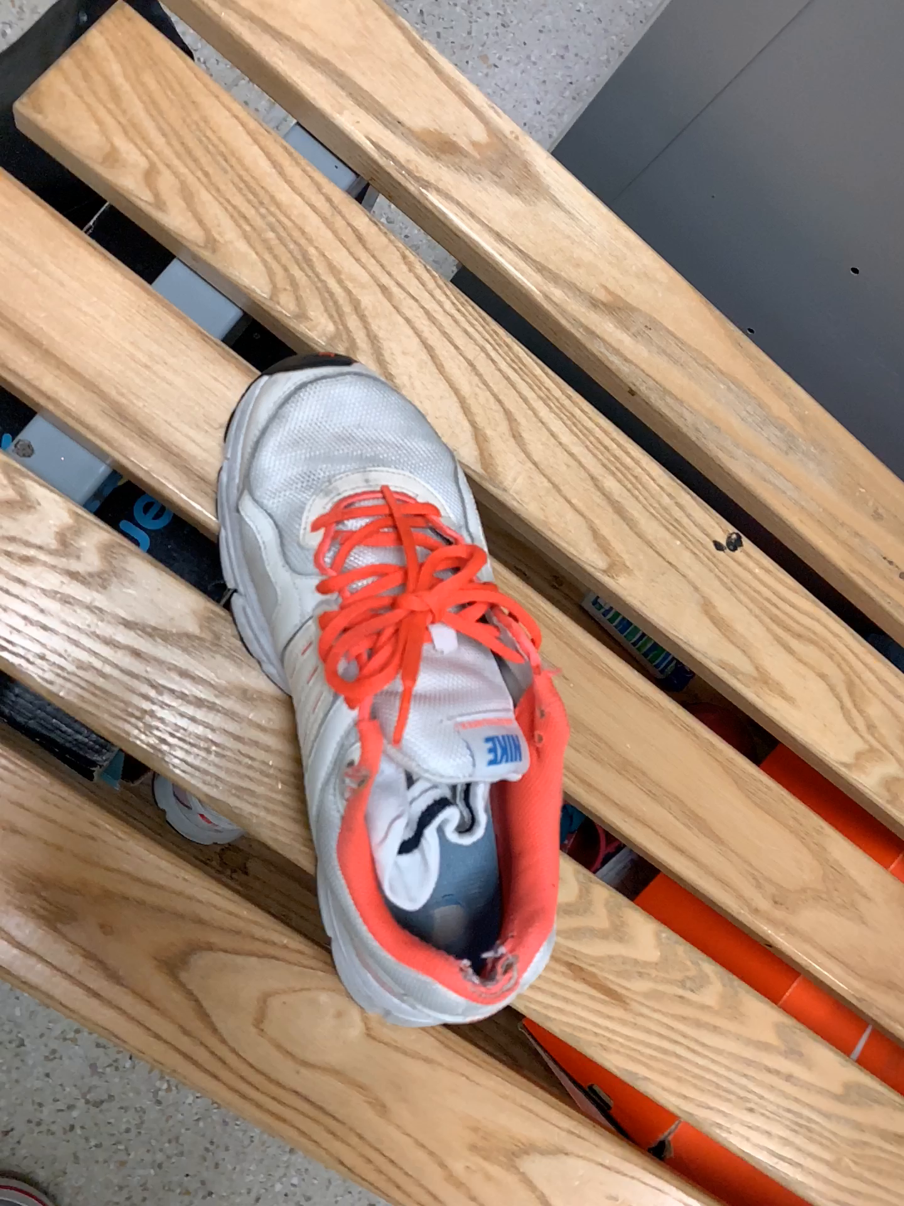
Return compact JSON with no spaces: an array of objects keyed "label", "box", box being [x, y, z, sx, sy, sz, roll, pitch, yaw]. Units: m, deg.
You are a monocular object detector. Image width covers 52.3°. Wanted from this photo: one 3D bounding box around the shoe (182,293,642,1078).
[{"label":"shoe","box":[-0.021,0.021,0.341,0.110,0.079,0.241,-10,87,-20]}]
